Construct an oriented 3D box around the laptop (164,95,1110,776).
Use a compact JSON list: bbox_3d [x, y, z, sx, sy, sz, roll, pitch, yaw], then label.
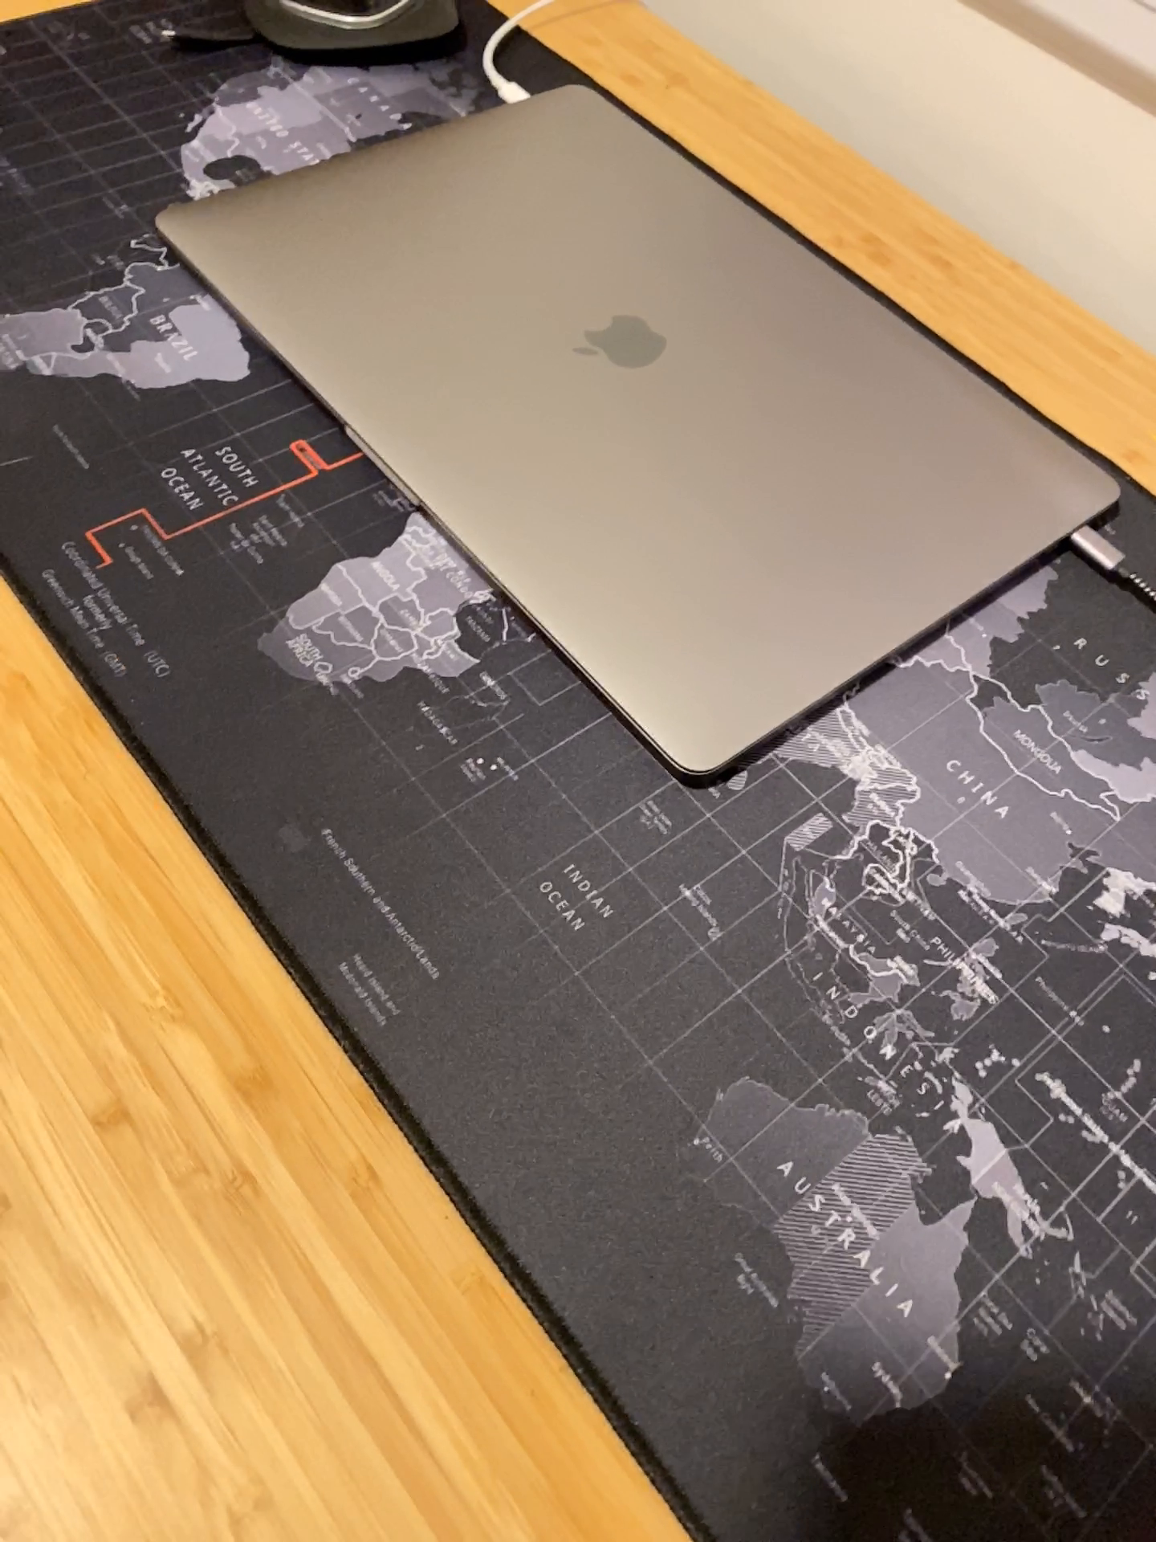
[{"bbox_3d":[0.016,-0.168,0.479,0.227,0.002,0.336,-31,64,-24],"label":"laptop"}]
